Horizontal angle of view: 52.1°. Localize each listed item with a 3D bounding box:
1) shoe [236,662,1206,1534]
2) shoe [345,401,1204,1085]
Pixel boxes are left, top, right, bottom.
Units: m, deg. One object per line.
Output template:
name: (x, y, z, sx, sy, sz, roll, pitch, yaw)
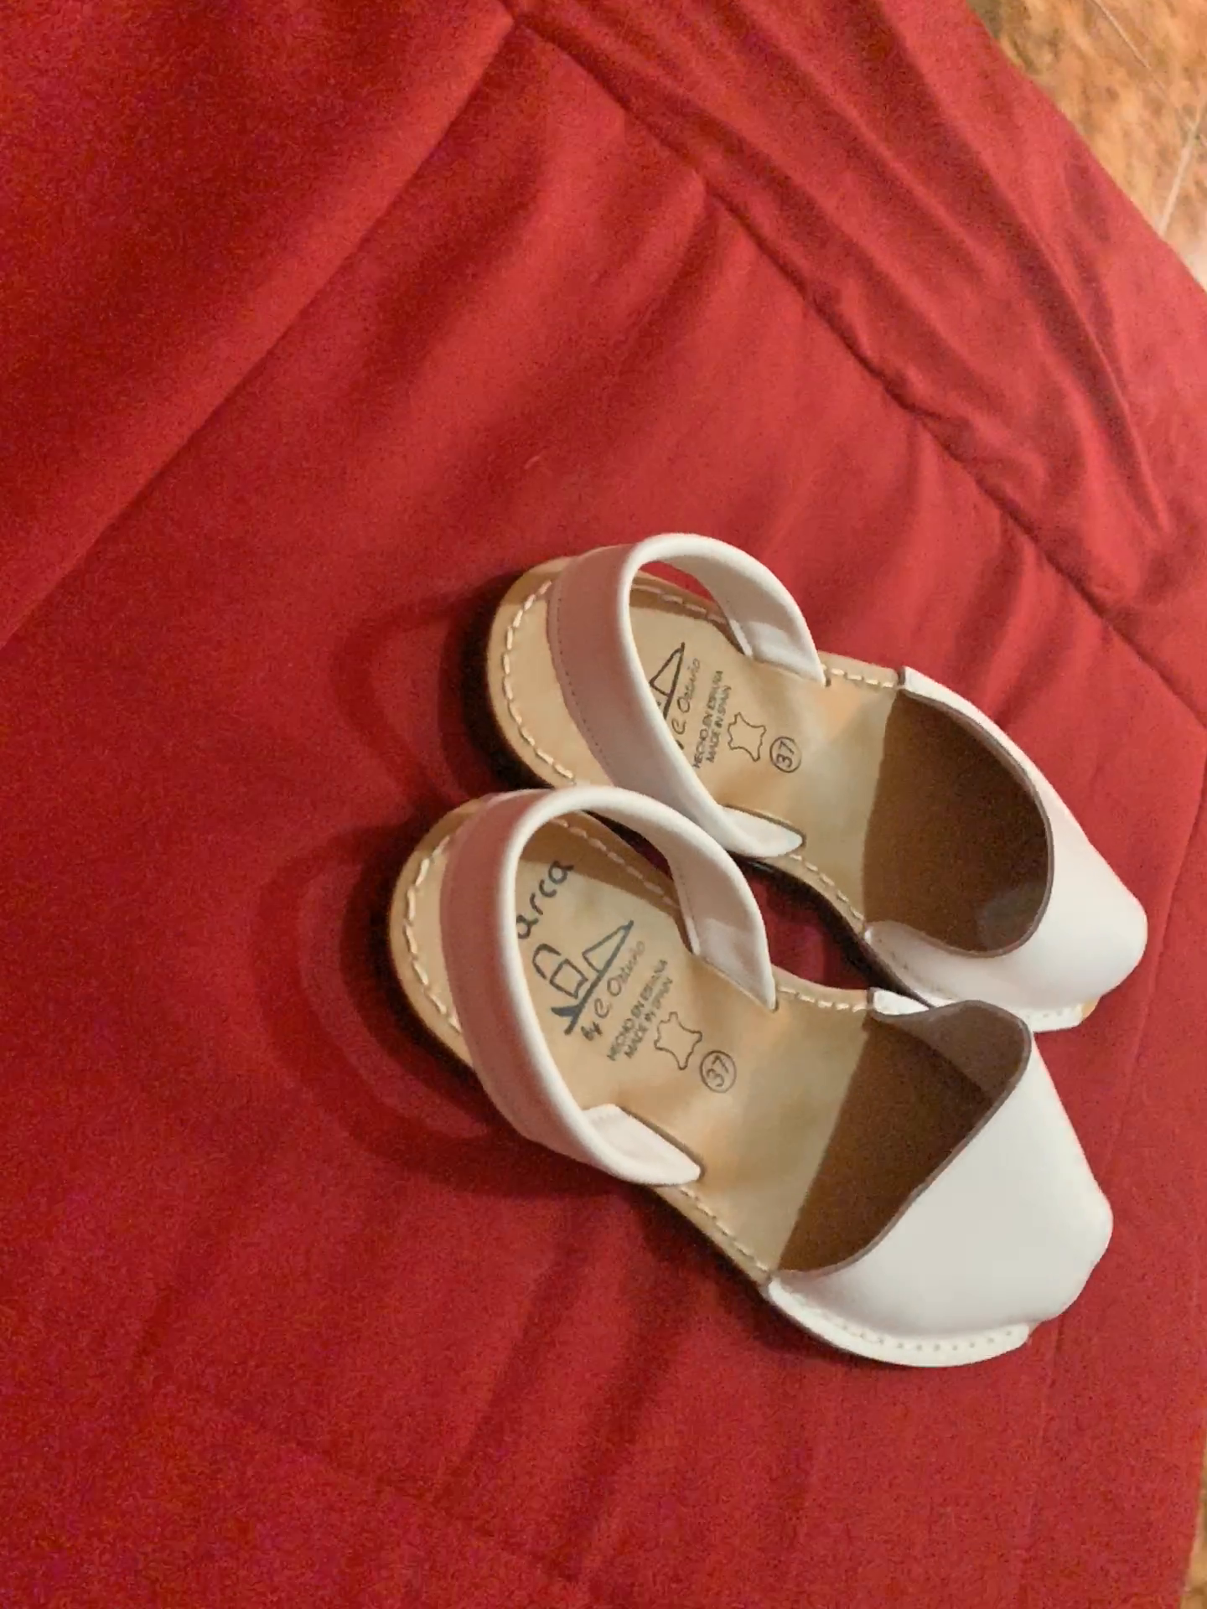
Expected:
shoe: (0.049, 0.084, 0.319, 0.248, 0.063, 0.108, 34, 63, -23)
shoe: (0.066, 0.001, 0.350, 0.250, 0.063, 0.103, 21, 68, -28)
